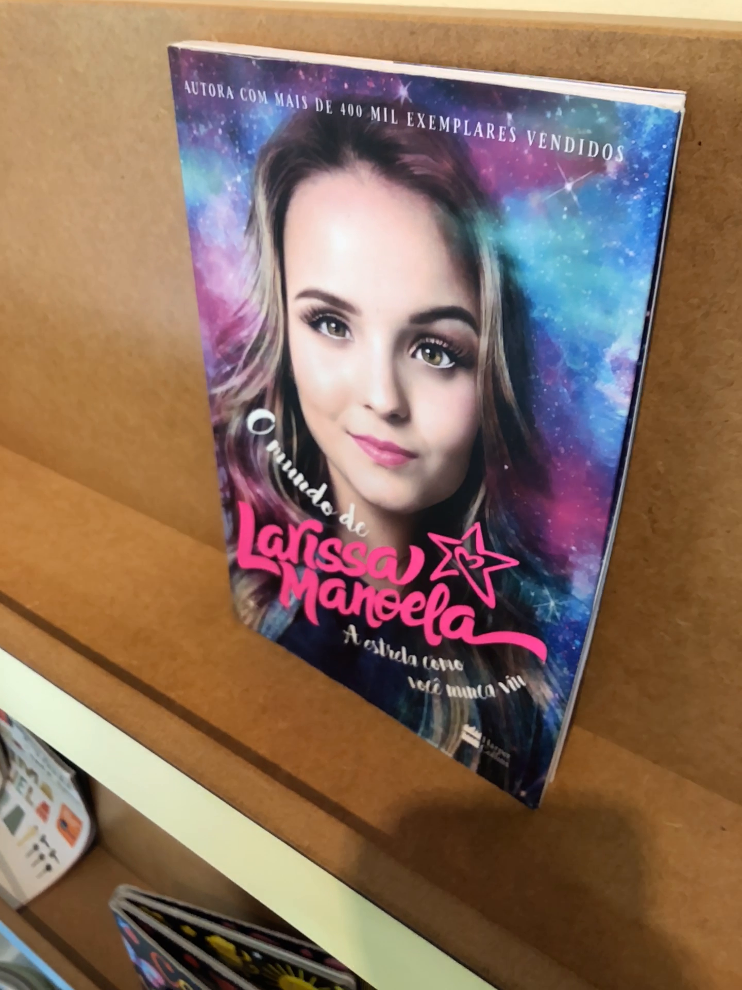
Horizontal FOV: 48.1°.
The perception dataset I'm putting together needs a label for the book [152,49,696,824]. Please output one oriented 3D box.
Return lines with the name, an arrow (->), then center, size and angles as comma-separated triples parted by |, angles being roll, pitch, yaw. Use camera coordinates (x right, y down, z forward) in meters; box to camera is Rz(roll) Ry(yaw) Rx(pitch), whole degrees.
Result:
book -> 0.003, -0.011, 0.265 | 0.150, 0.221, 0.020 | 24, 41, 32
